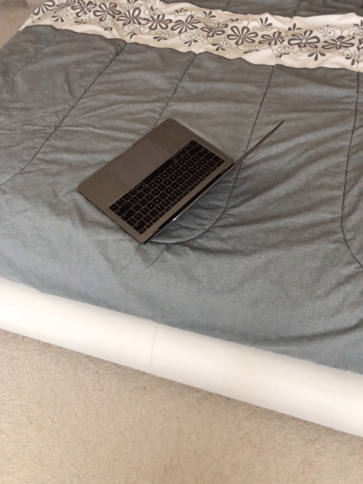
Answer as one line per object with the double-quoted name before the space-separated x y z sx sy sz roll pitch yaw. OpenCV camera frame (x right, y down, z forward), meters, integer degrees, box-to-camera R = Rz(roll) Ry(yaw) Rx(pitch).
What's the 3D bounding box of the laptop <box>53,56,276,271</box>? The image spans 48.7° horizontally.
"laptop" -0.024 -0.162 0.773 0.281 0.159 0.280 38 66 22
